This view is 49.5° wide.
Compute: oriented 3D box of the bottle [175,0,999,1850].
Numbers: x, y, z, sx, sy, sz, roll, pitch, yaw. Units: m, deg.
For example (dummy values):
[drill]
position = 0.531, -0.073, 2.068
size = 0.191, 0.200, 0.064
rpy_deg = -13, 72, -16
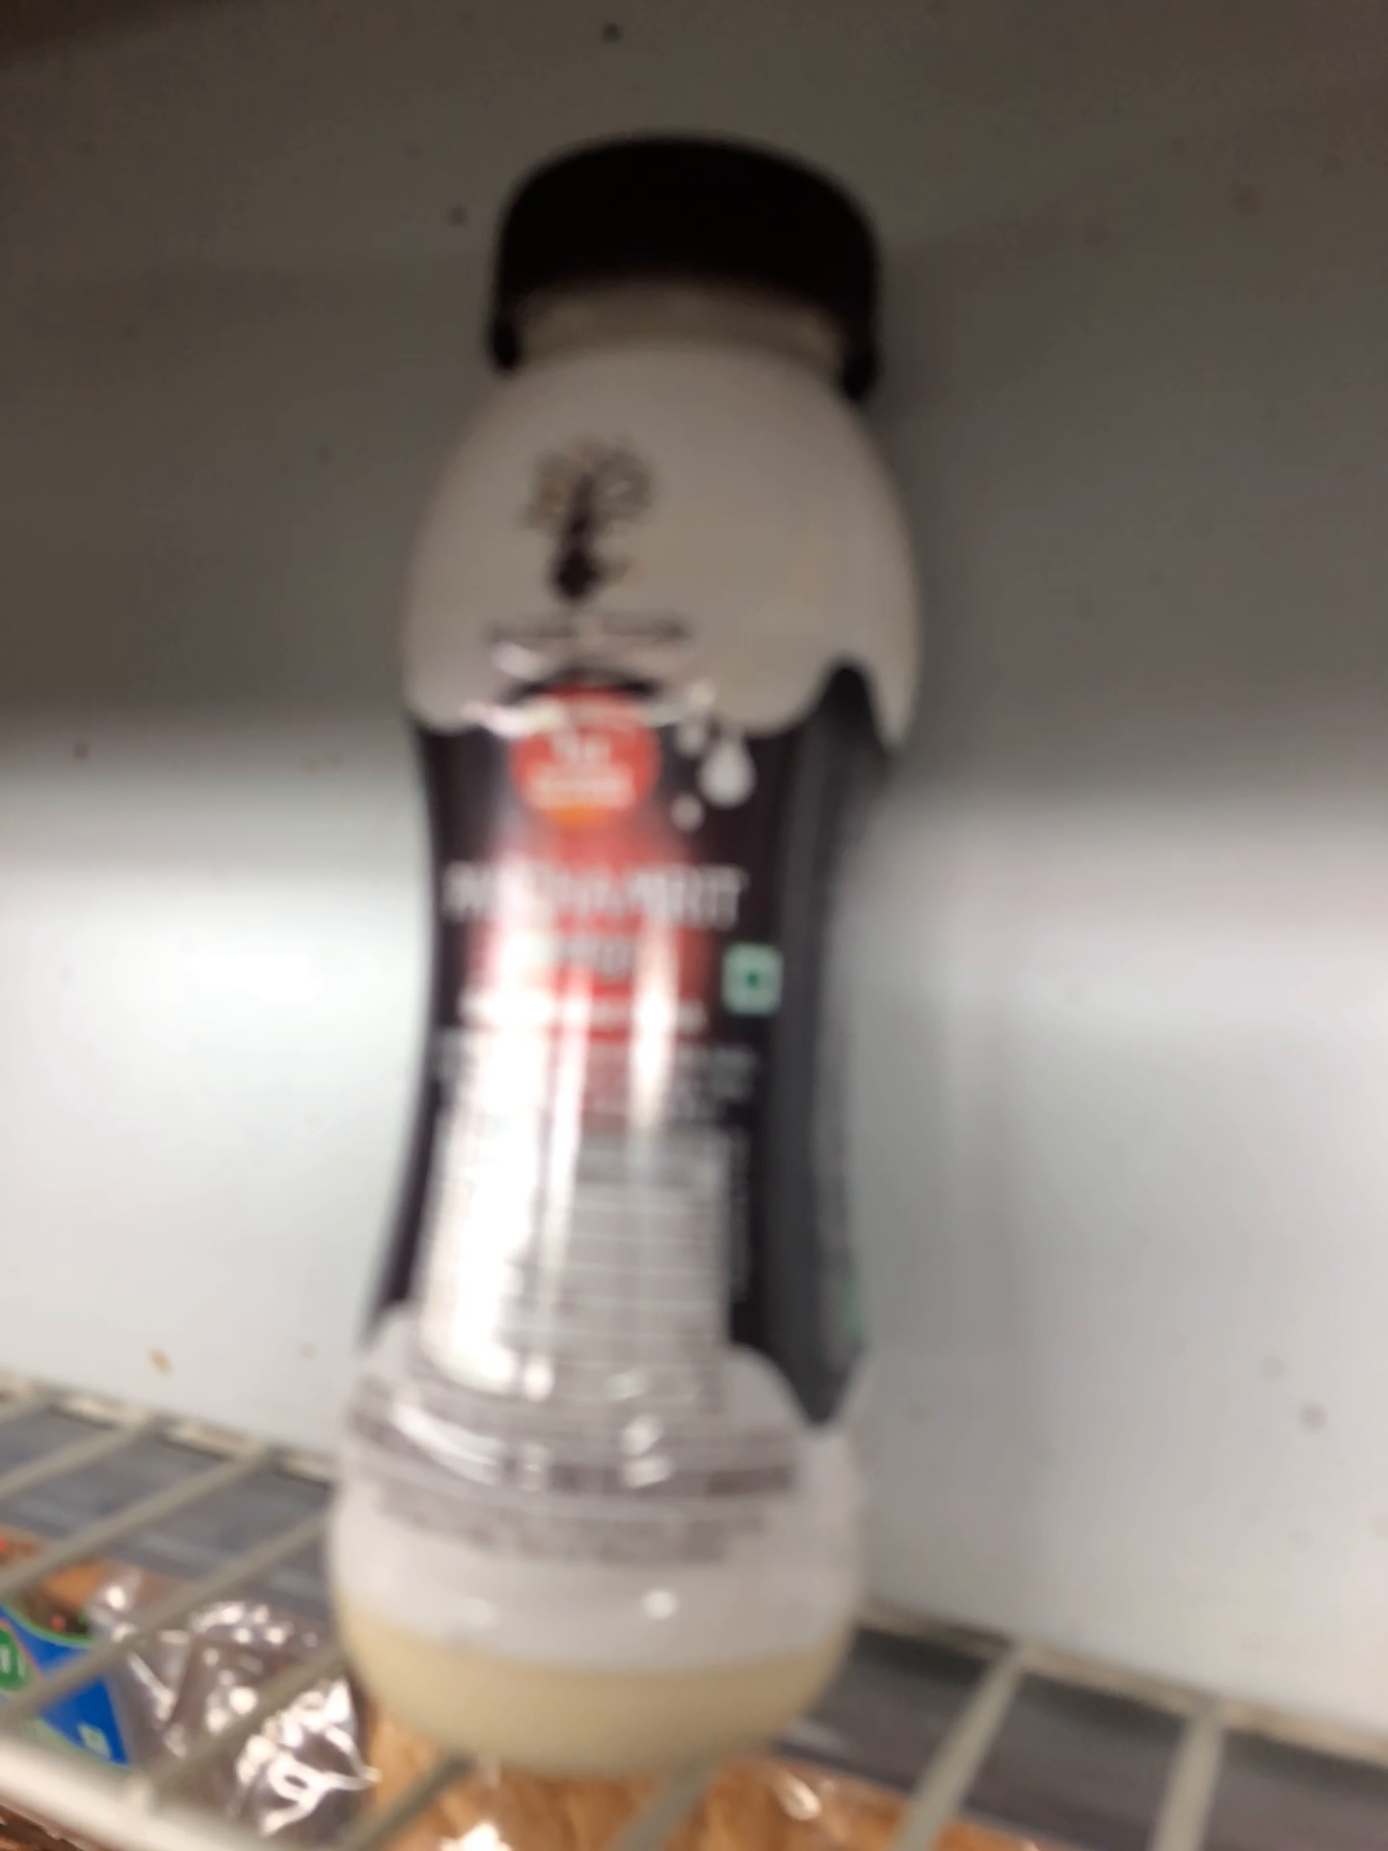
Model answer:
[bottle]
position = -0.004, -0.008, 0.156
size = 0.060, 0.060, 0.160
rpy_deg = 2, 87, 15
